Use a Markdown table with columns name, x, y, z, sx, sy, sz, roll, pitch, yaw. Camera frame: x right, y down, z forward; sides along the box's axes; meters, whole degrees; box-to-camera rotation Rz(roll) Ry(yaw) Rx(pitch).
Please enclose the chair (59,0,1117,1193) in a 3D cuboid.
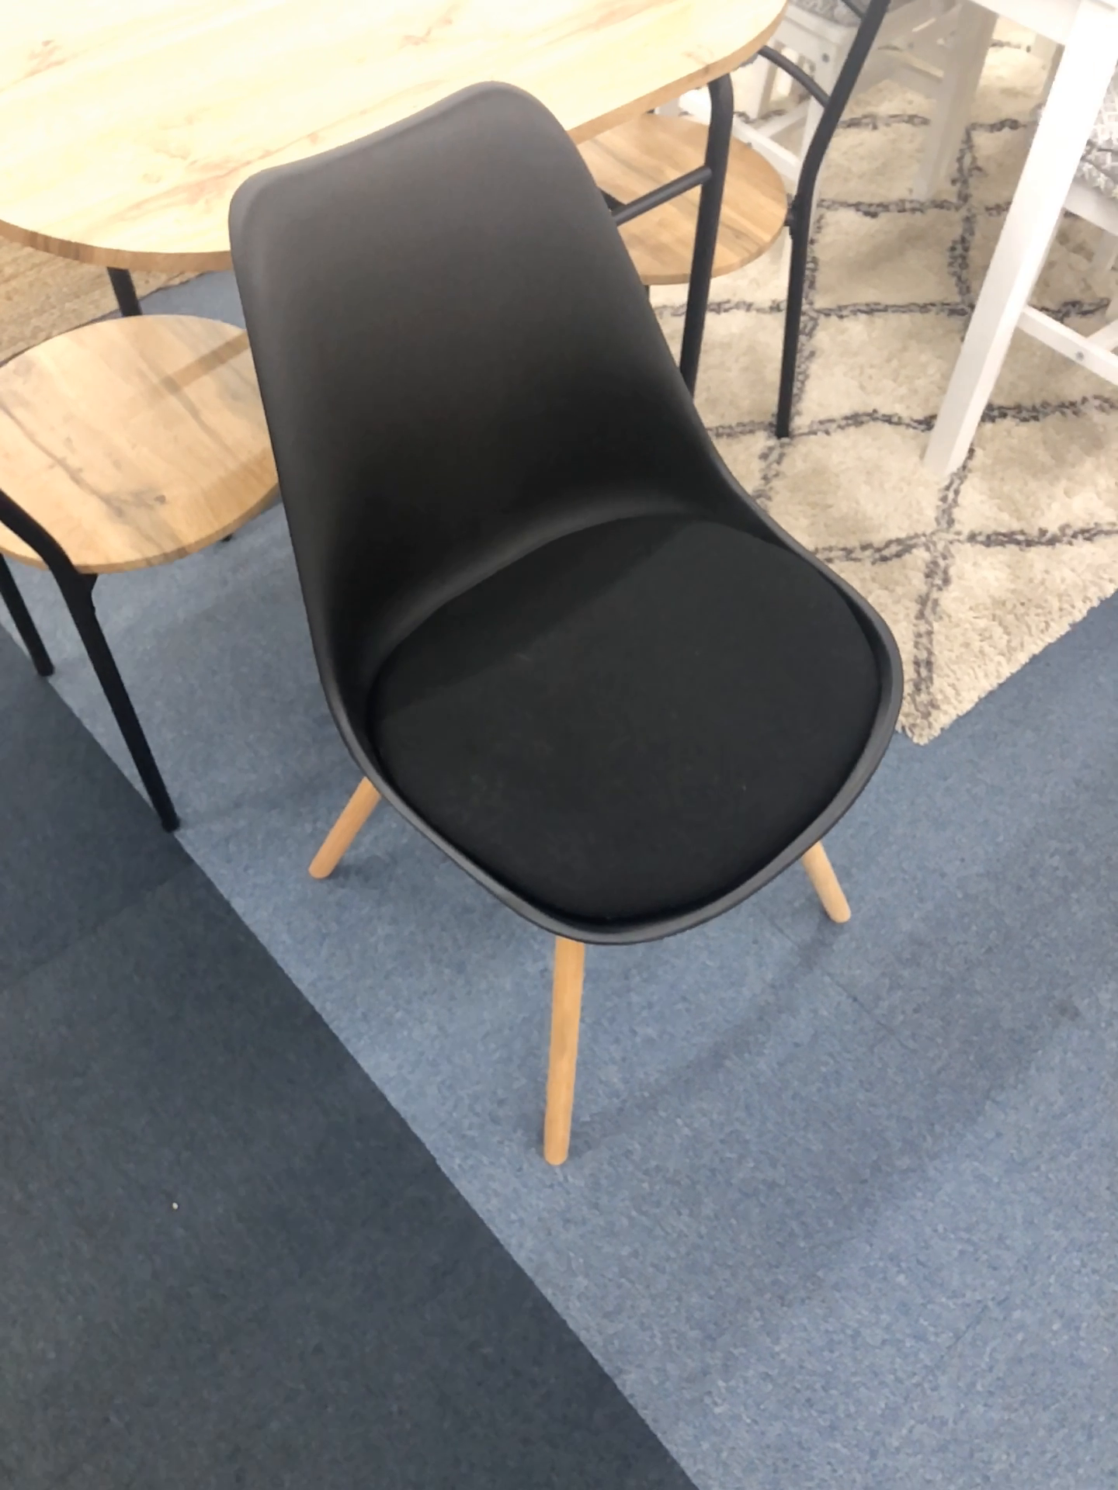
| name | x | y | z | sx | sy | sz | roll | pitch | yaw |
| --- | --- | --- | --- | --- | --- | --- | --- | --- | --- |
| chair | 0.025 | -0.064 | 1.120 | 0.491 | 0.858 | 0.501 | -35 | 63 | -22 |
